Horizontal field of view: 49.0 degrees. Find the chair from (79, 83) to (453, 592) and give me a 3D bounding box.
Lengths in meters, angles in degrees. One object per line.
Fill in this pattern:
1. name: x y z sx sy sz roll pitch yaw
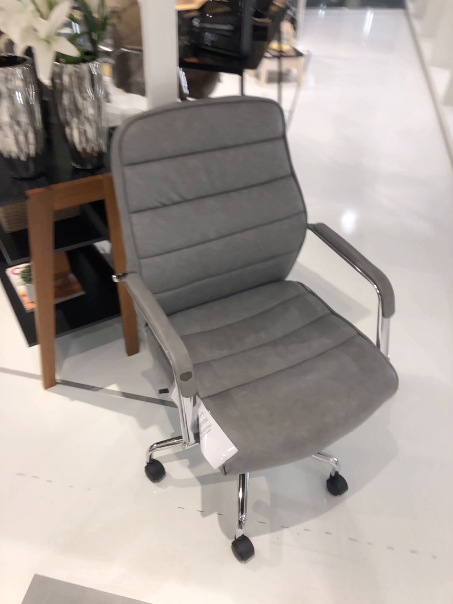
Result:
1. chair: 0.086 0.102 1.208 0.601 0.993 0.553 -17 45 -22
